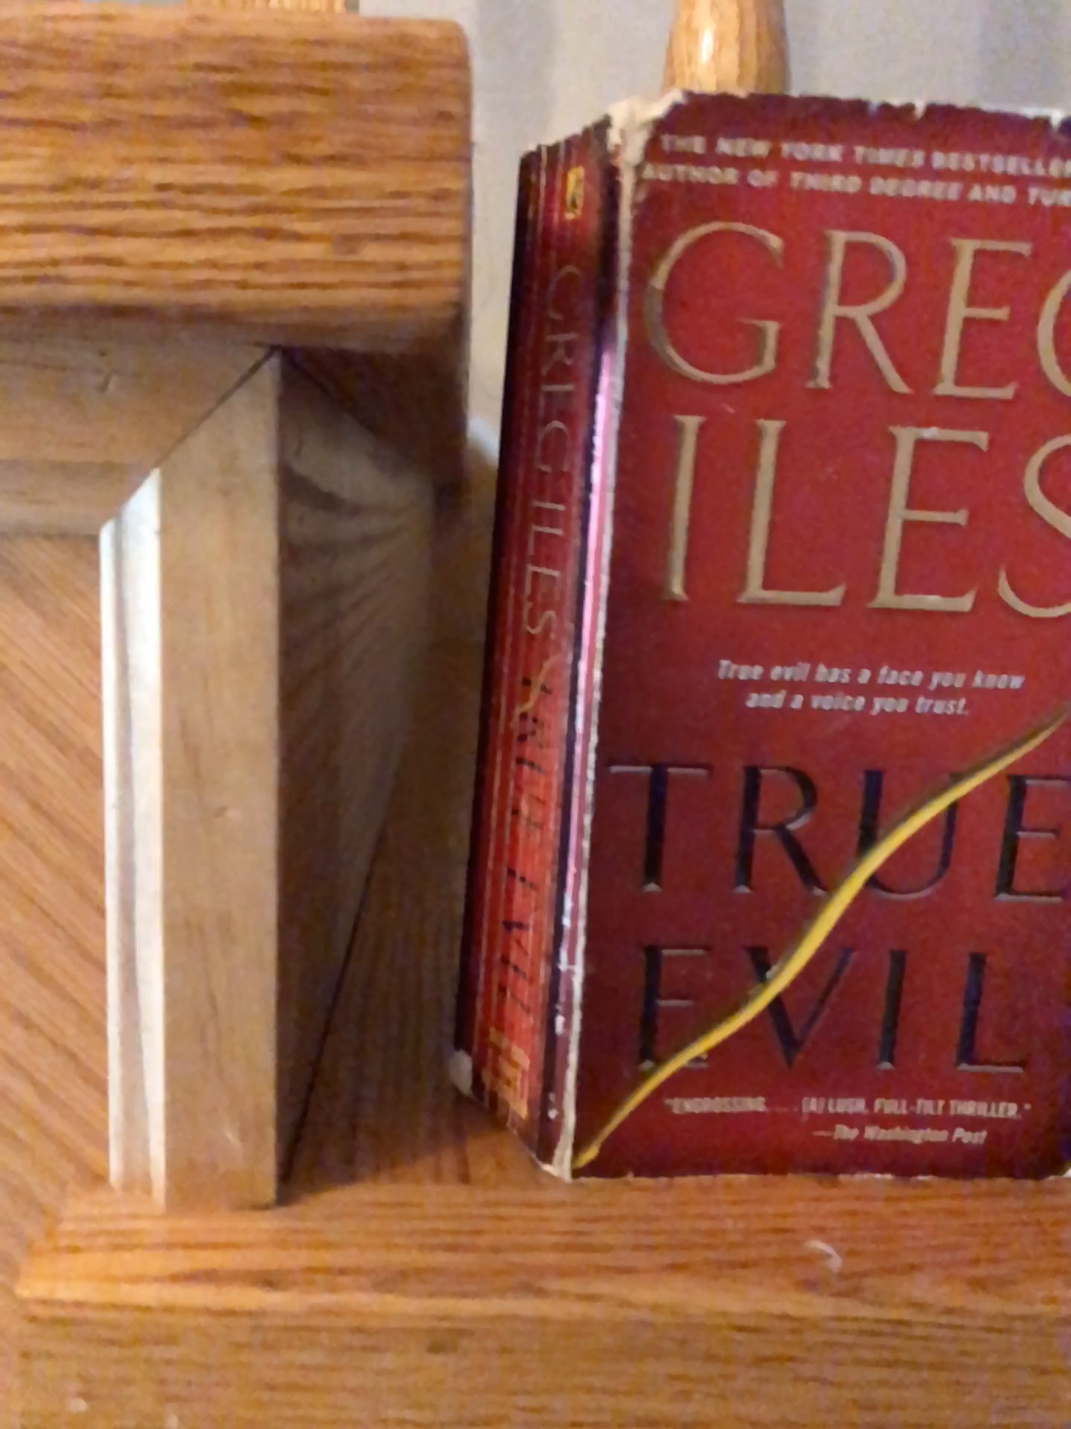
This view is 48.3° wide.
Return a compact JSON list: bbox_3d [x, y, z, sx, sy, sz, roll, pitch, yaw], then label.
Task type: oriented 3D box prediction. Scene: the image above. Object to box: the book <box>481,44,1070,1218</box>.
[{"bbox_3d":[0.051,-0.012,0.245,0.120,0.205,0.068,1,8,-3],"label":"book"}]
